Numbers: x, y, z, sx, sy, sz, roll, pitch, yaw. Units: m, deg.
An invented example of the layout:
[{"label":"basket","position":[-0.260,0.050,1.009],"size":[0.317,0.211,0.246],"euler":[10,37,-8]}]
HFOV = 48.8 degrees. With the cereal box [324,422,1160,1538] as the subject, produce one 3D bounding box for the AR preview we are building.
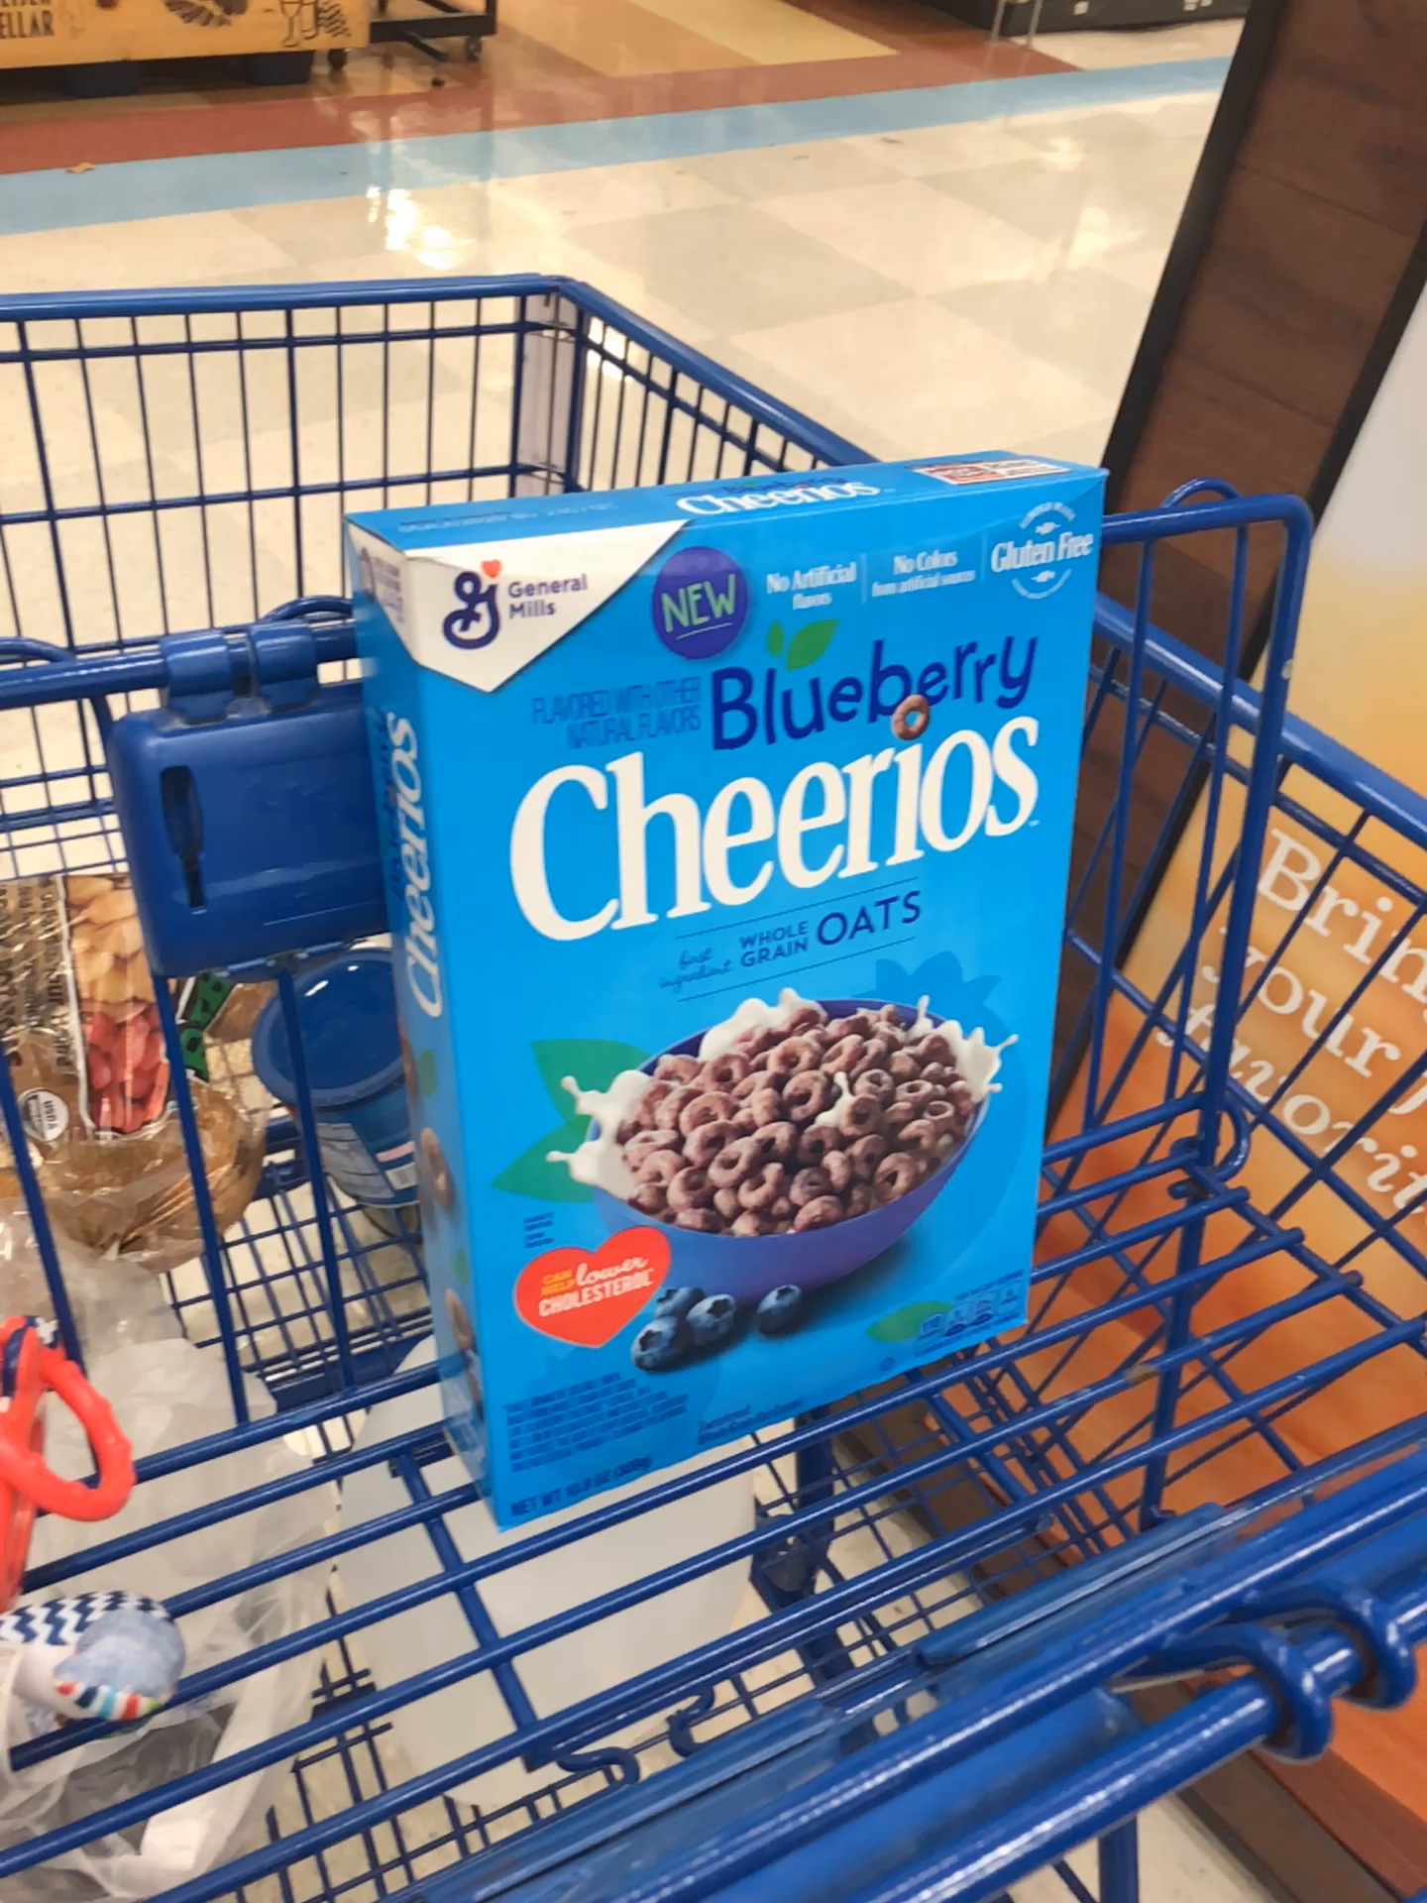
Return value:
[{"label":"cereal box","position":[0.012,0.004,0.453],"size":[0.200,0.280,0.070],"euler":[-13,28,-25]}]
